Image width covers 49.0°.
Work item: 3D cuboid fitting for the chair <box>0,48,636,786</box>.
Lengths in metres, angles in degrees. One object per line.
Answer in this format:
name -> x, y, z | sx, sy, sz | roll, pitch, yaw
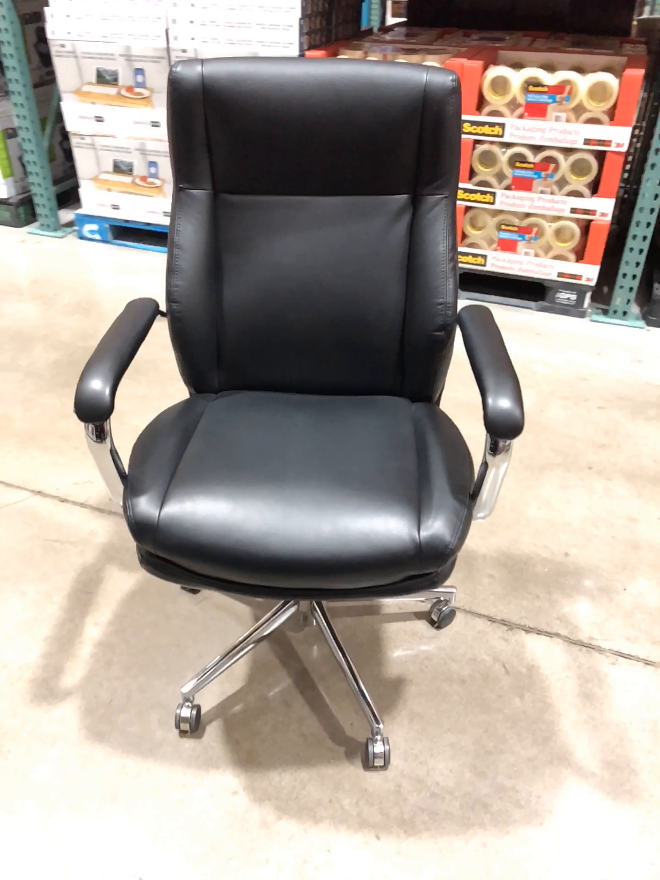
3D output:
chair -> -0.043, -0.050, 1.281 | 0.710, 1.045, 0.703 | 4, 35, 4
